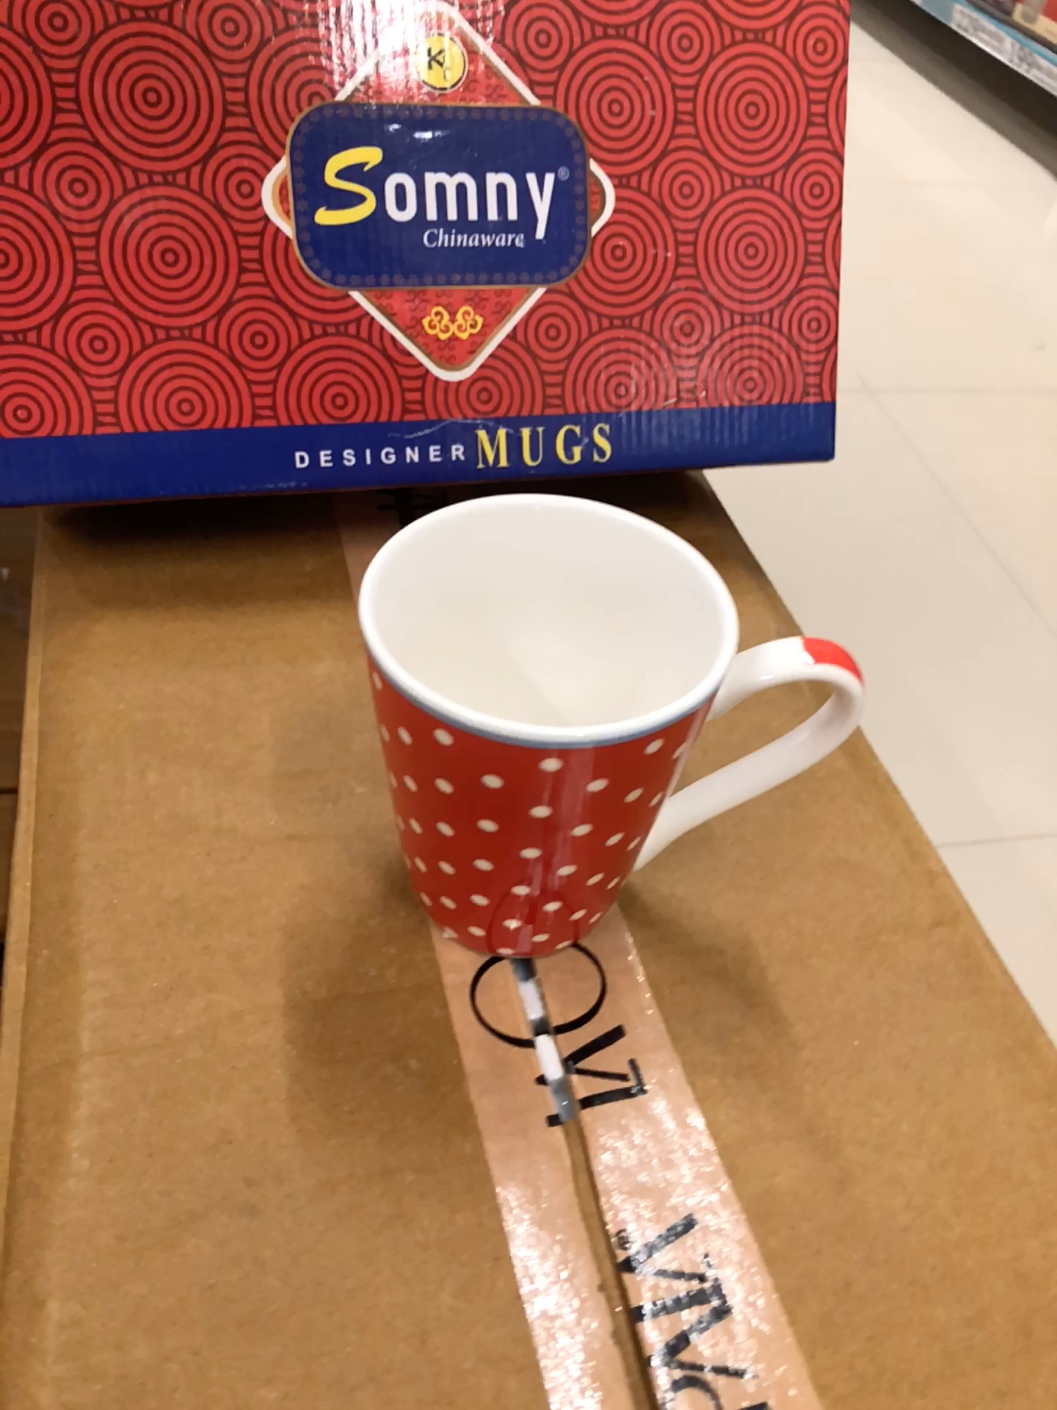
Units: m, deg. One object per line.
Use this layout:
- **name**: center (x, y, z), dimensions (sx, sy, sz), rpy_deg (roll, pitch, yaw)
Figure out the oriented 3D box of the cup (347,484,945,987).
- **cup**: center (0.017, 0.007, 0.289), dimensions (0.120, 0.089, 0.081), rpy_deg (0, 44, -8)
